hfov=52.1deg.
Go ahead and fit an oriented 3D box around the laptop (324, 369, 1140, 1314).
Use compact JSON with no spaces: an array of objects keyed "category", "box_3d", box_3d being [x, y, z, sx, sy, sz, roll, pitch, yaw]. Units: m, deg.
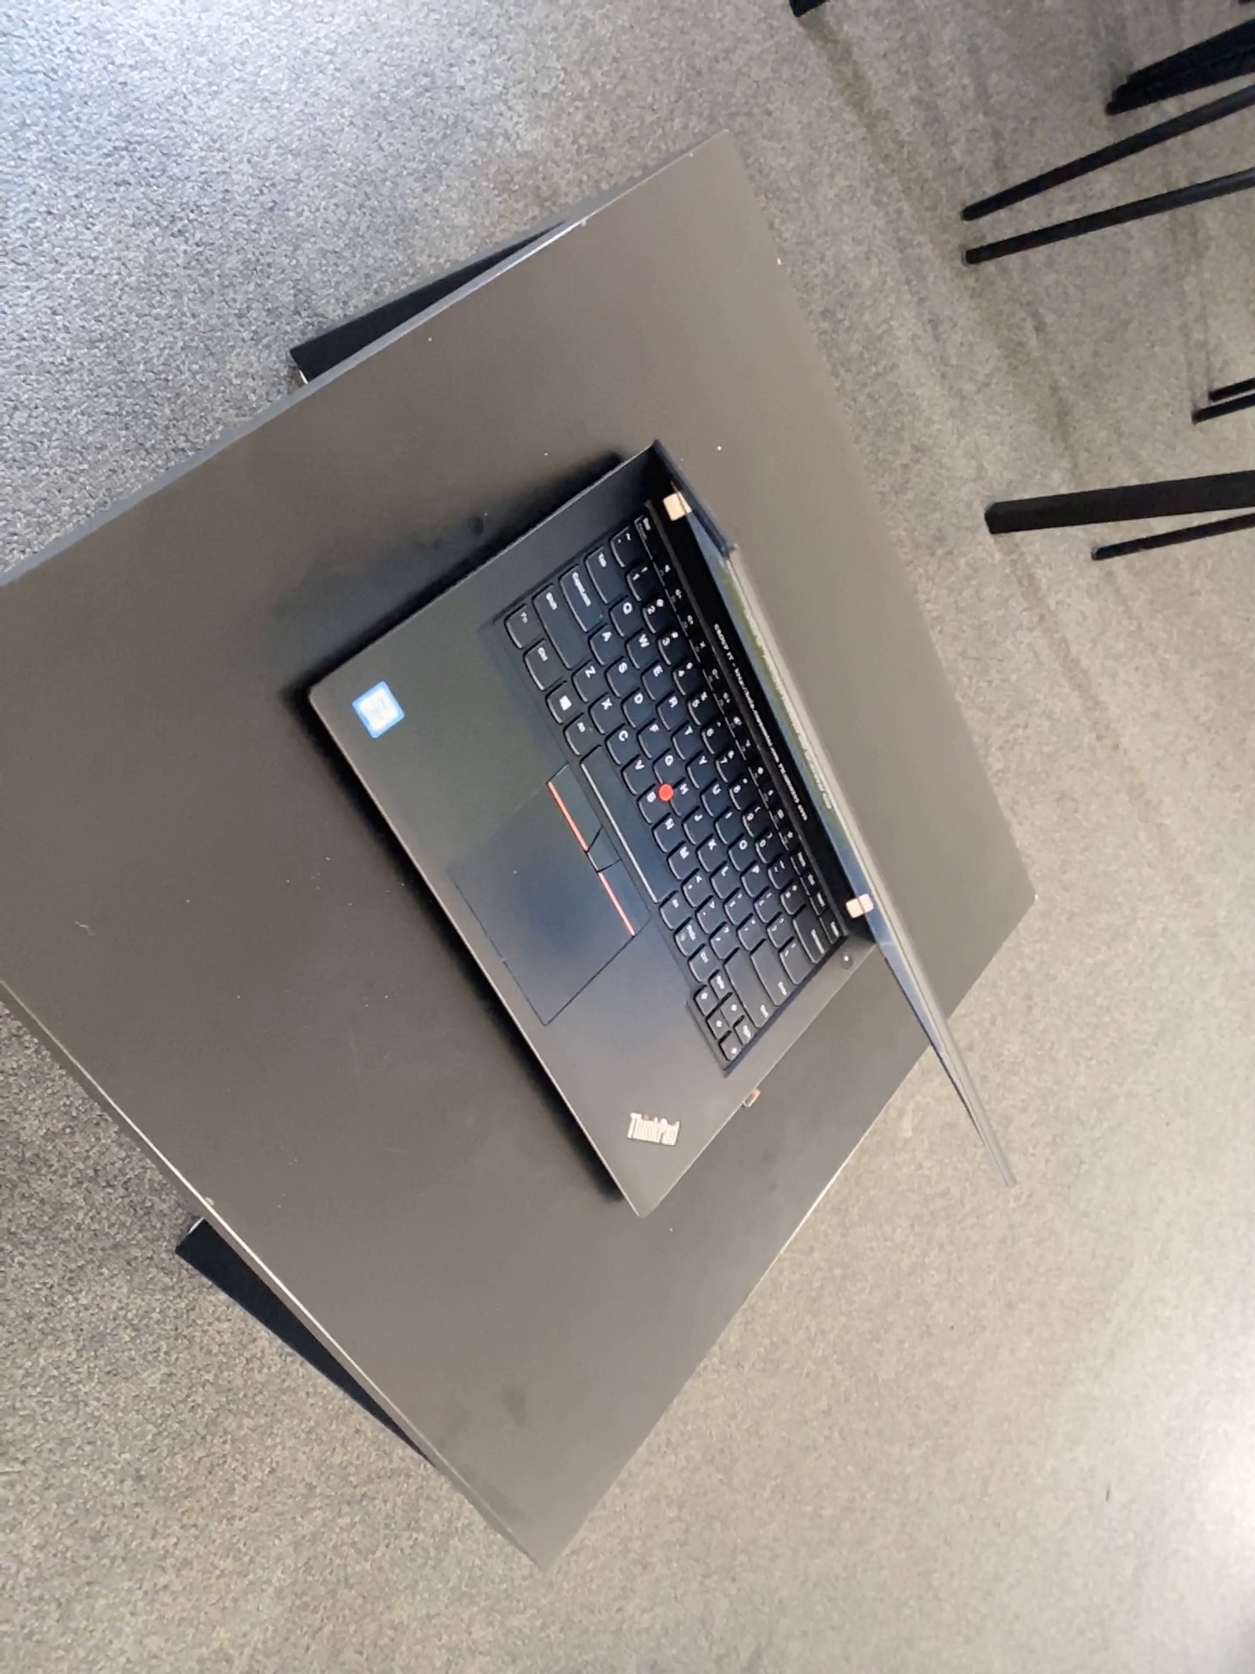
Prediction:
[{"category":"laptop","box_3d":[0.069,0.004,0.602,0.224,0.165,0.333,-43,120,-28]}]
